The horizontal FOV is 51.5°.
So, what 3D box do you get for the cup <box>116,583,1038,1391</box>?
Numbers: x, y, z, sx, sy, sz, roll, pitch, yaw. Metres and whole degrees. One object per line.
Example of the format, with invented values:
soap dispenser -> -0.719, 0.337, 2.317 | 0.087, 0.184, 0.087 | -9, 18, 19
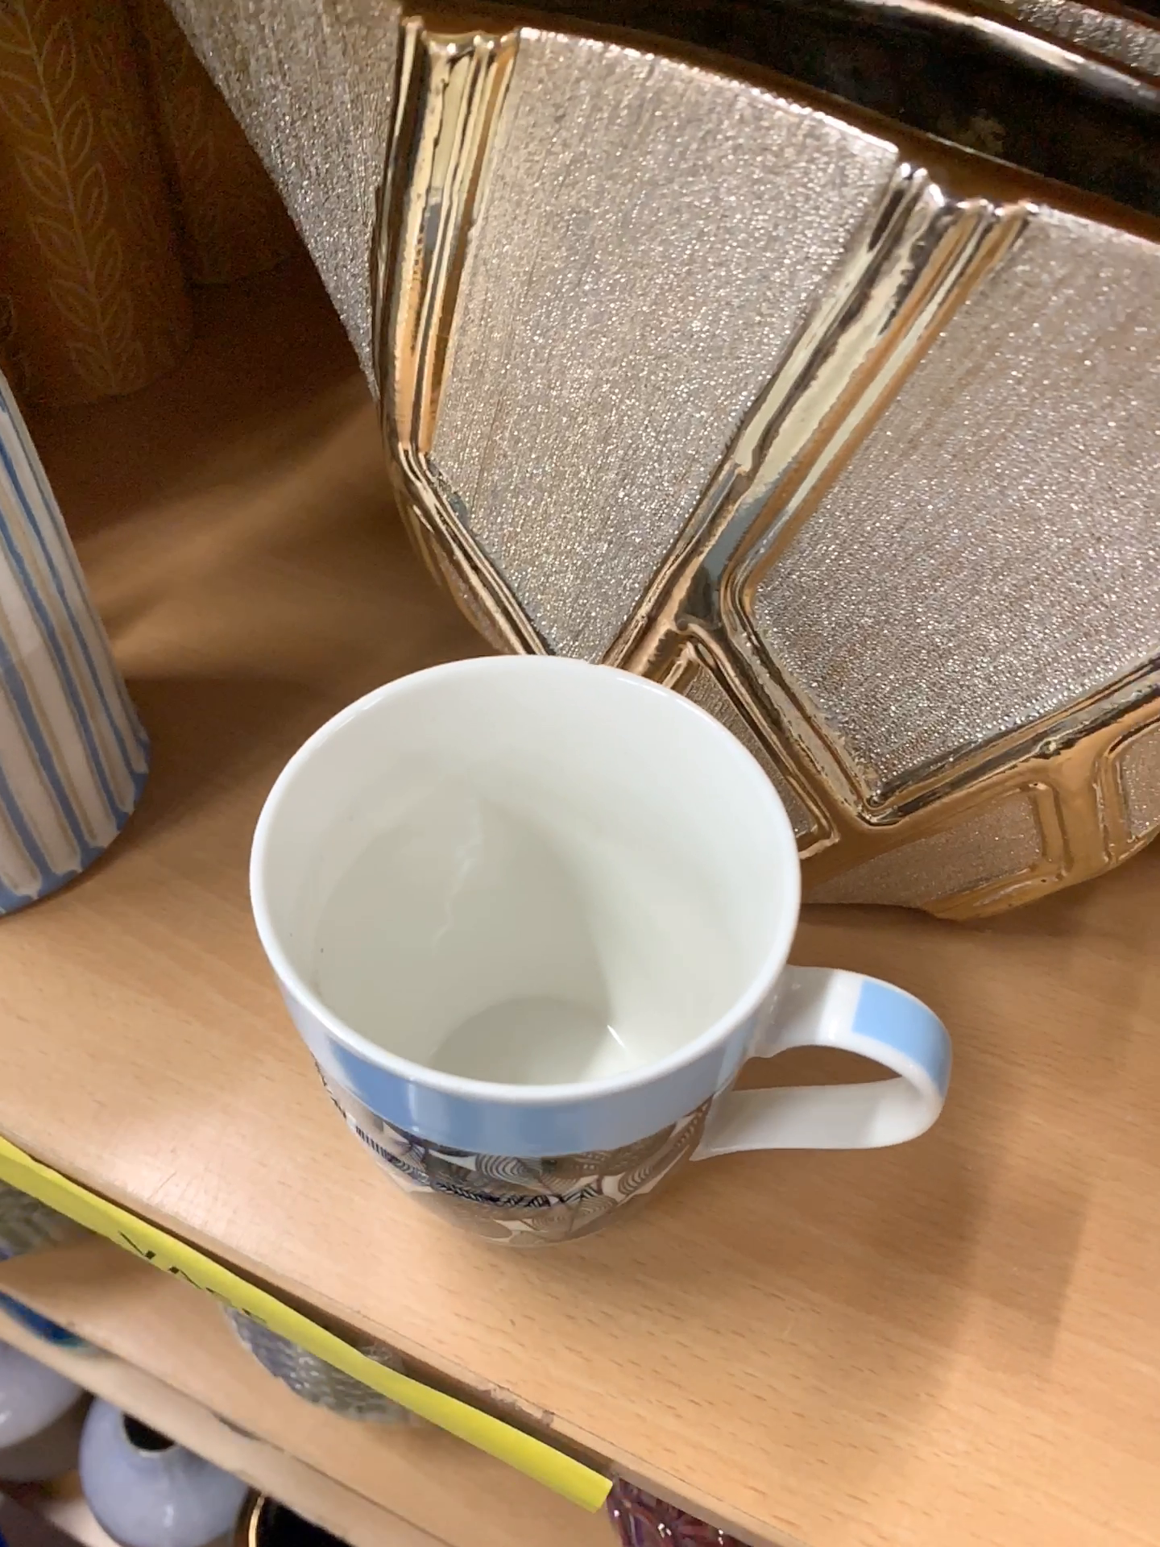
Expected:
cup -> 0.003, 0.036, 0.201 | 0.110, 0.090, 0.080 | 9, 48, 5
